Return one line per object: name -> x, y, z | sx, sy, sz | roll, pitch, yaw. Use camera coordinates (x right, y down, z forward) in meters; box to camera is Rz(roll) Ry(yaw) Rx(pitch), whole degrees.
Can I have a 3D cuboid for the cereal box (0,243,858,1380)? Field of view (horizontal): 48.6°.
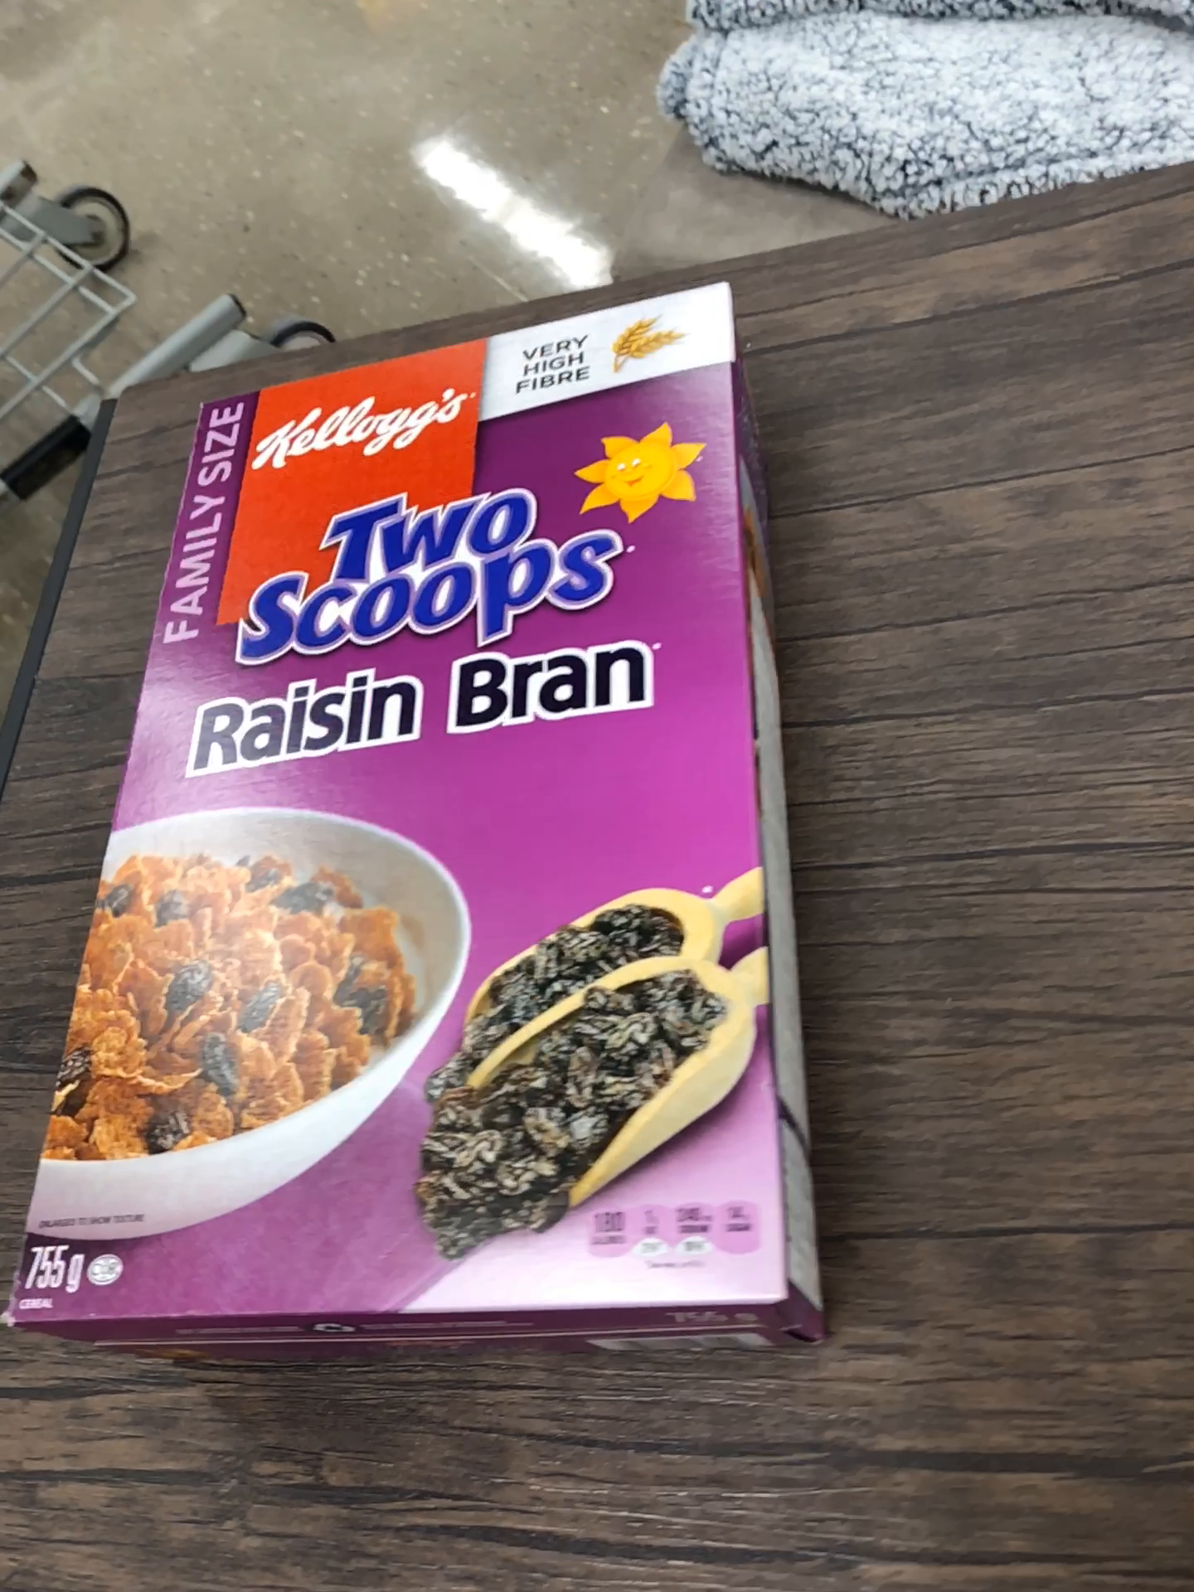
cereal box -> -0.046, -0.002, 0.401 | 0.210, 0.080, 0.320 | -8, 60, 15
